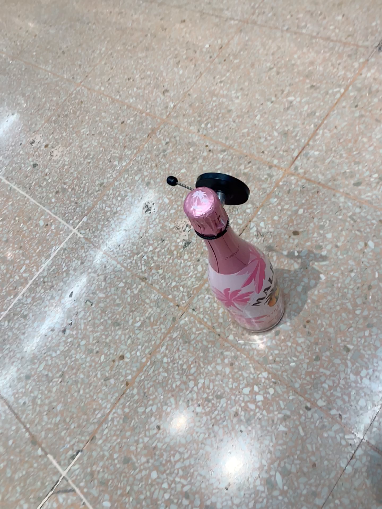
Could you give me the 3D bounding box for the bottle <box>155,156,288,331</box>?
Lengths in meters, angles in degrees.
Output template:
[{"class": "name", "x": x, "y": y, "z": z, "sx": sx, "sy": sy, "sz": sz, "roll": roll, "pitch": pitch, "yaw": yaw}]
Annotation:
[{"class": "bottle", "x": 0.056, "y": 0.014, "z": 0.452, "sx": 0.080, "sy": 0.287, "sz": 0.080, "roll": -8, "pitch": 63, "yaw": 16}]
